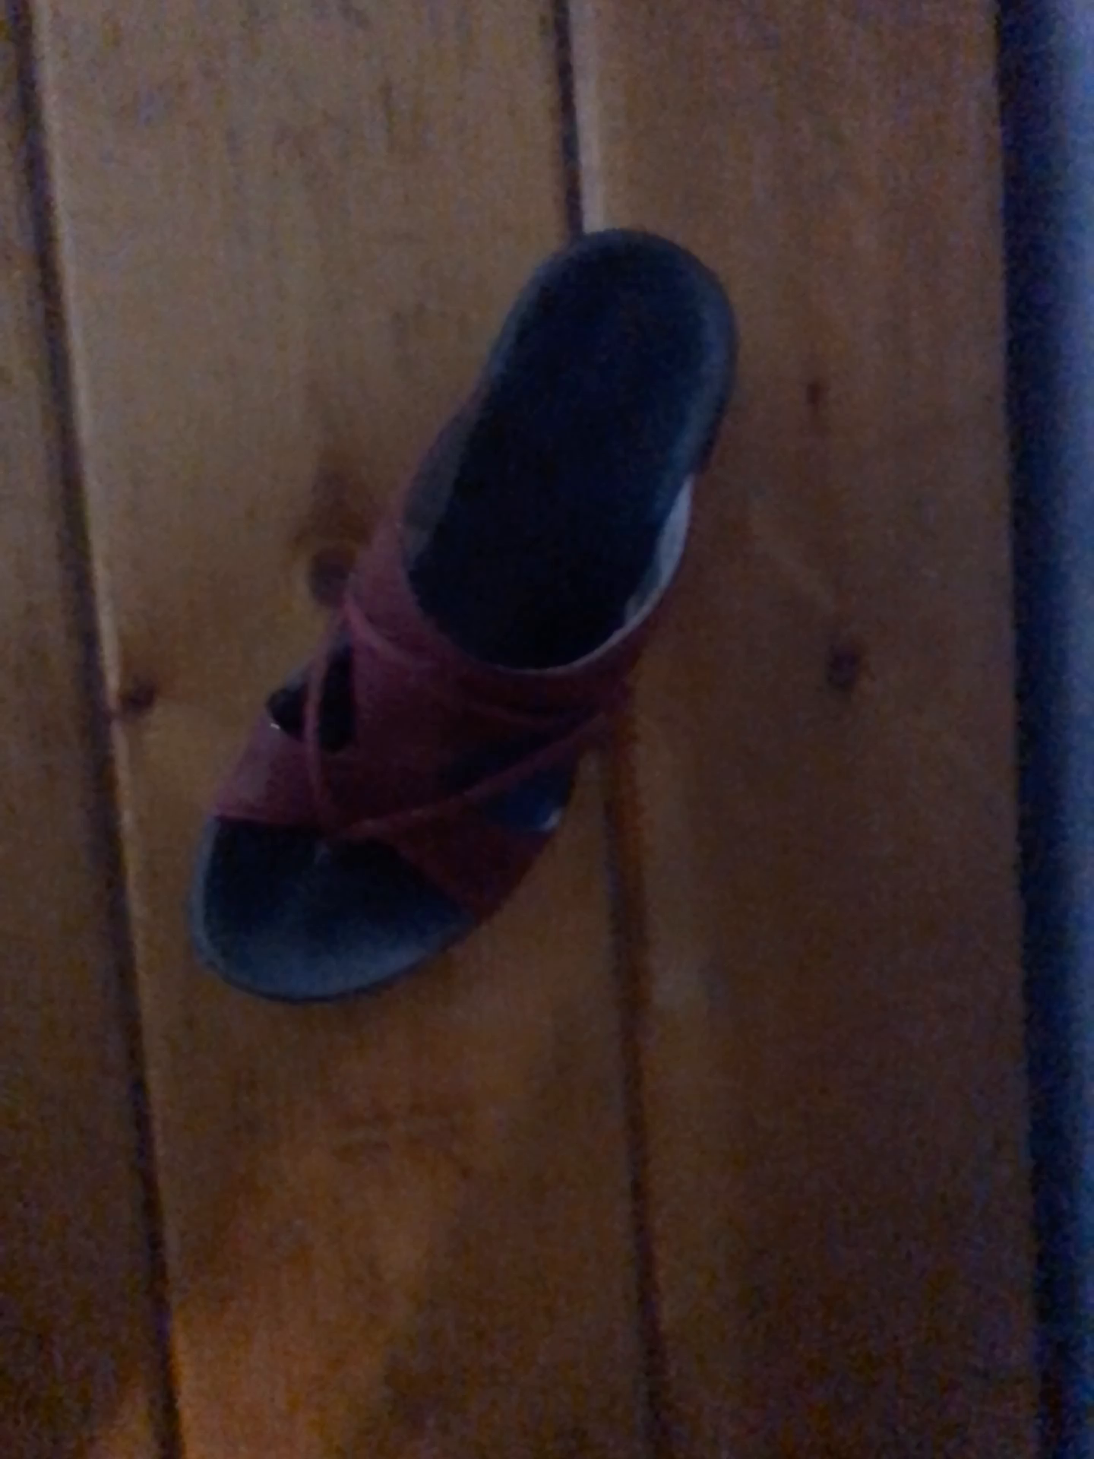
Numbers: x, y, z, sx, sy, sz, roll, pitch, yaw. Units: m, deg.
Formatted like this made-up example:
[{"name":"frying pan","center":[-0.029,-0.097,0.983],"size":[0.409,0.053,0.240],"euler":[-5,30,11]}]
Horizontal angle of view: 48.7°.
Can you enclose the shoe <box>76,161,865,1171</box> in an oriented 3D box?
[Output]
[{"name":"shoe","center":[-0.023,-0.016,0.355],"size":[0.100,0.070,0.250],"euler":[29,92,-7]}]
